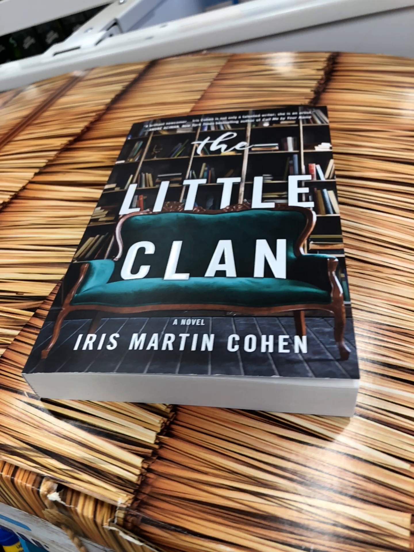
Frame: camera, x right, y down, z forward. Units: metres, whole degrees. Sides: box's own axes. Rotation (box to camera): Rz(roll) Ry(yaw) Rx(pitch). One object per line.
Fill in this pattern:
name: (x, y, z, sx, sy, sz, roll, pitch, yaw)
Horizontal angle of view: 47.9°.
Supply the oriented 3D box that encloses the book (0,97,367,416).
book: (0.001, -0.028, 0.234, 0.130, 0.030, 0.190, -1, 45, 12)
